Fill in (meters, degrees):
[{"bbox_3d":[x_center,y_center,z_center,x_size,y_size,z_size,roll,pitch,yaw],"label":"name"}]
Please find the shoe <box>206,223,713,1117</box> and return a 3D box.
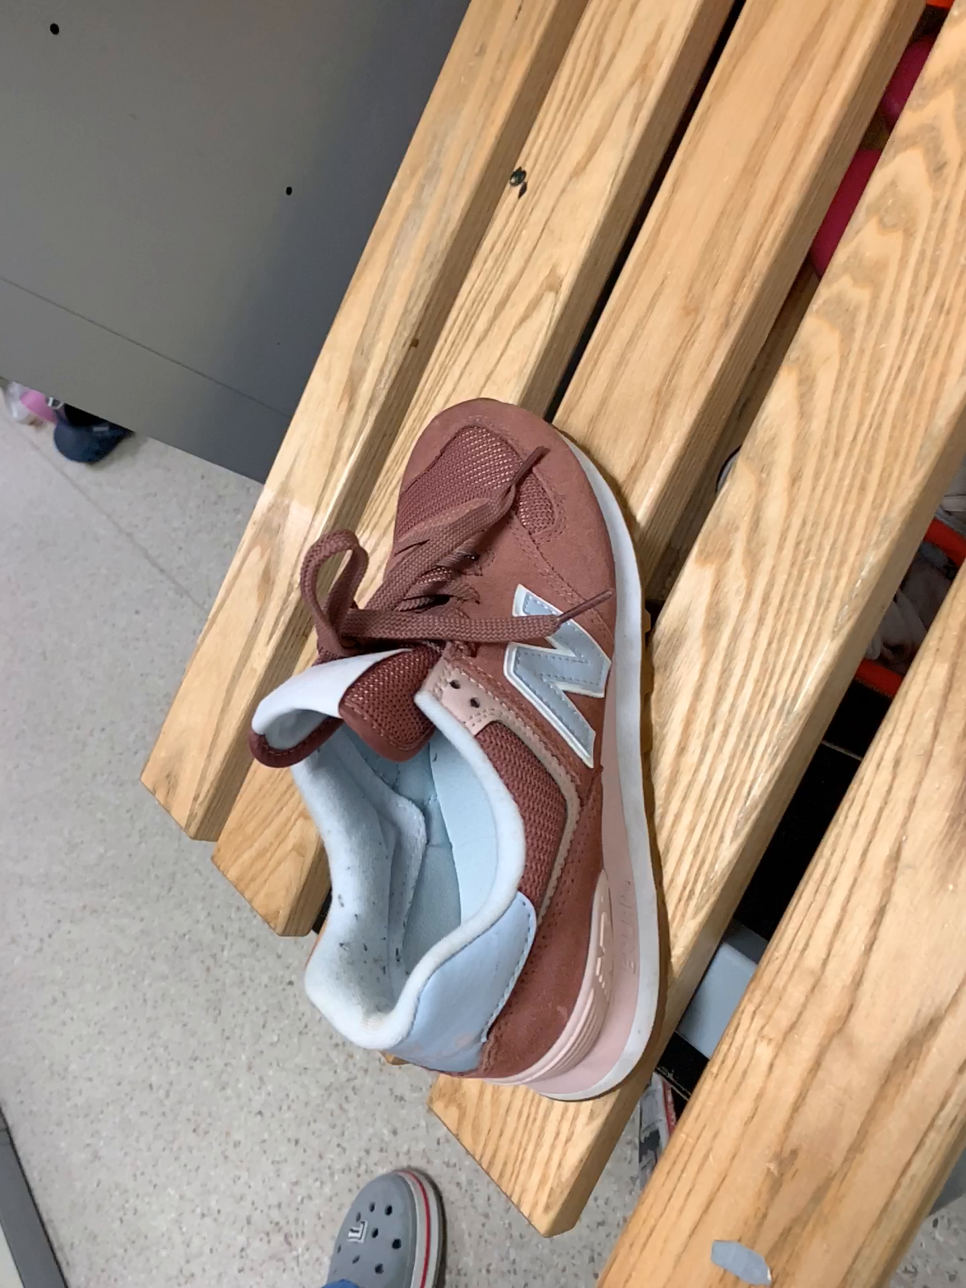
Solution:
[{"bbox_3d":[-0.015,0.013,0.343,0.110,0.105,0.260,-20,64,37],"label":"shoe"}]
